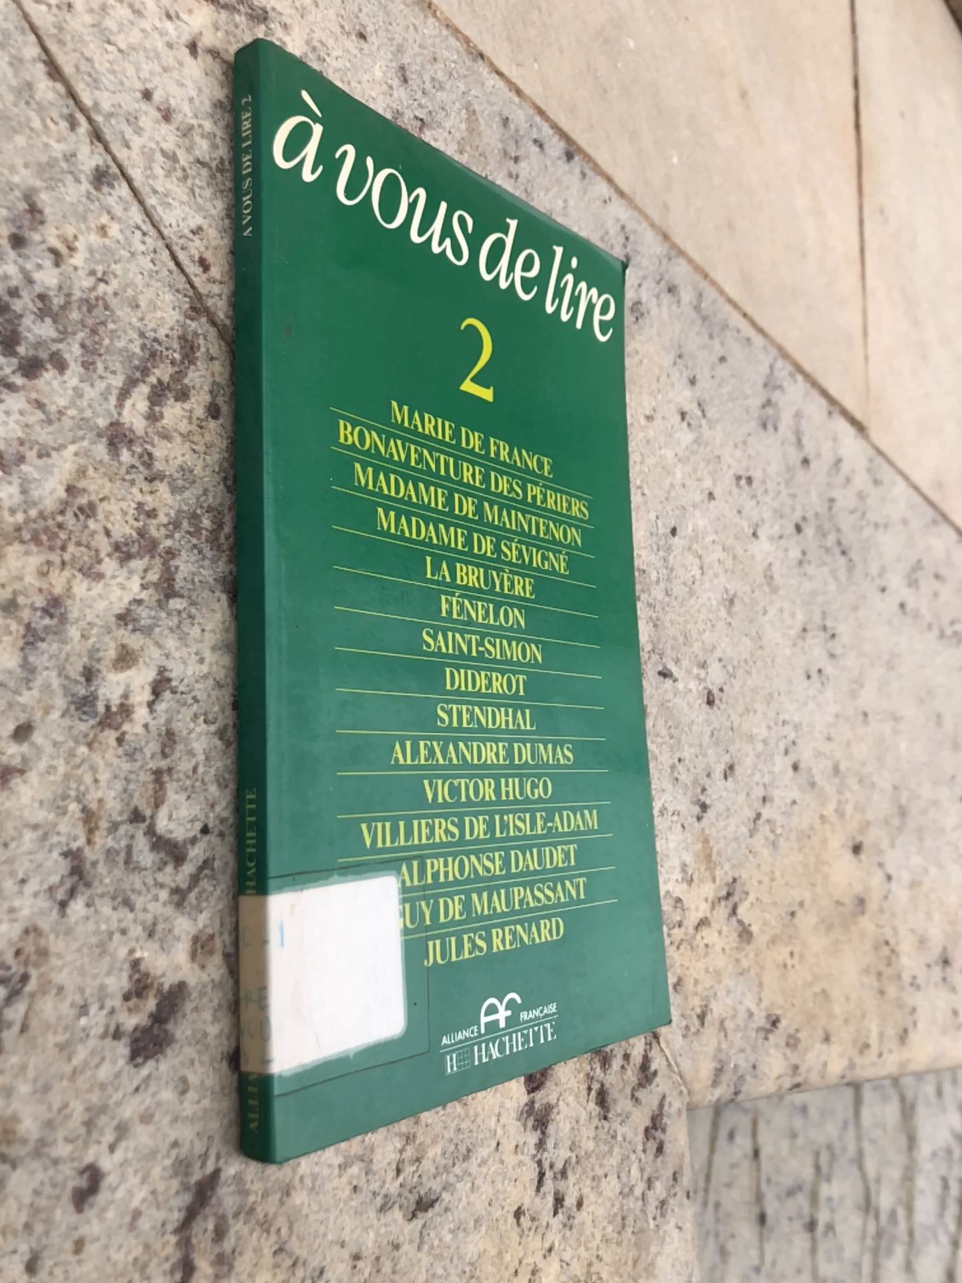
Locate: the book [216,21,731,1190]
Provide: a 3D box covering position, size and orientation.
[{"bbox_3d":[0.005,-0.009,0.247,0.141,0.017,0.210,7,76,-48],"label":"book"}]
